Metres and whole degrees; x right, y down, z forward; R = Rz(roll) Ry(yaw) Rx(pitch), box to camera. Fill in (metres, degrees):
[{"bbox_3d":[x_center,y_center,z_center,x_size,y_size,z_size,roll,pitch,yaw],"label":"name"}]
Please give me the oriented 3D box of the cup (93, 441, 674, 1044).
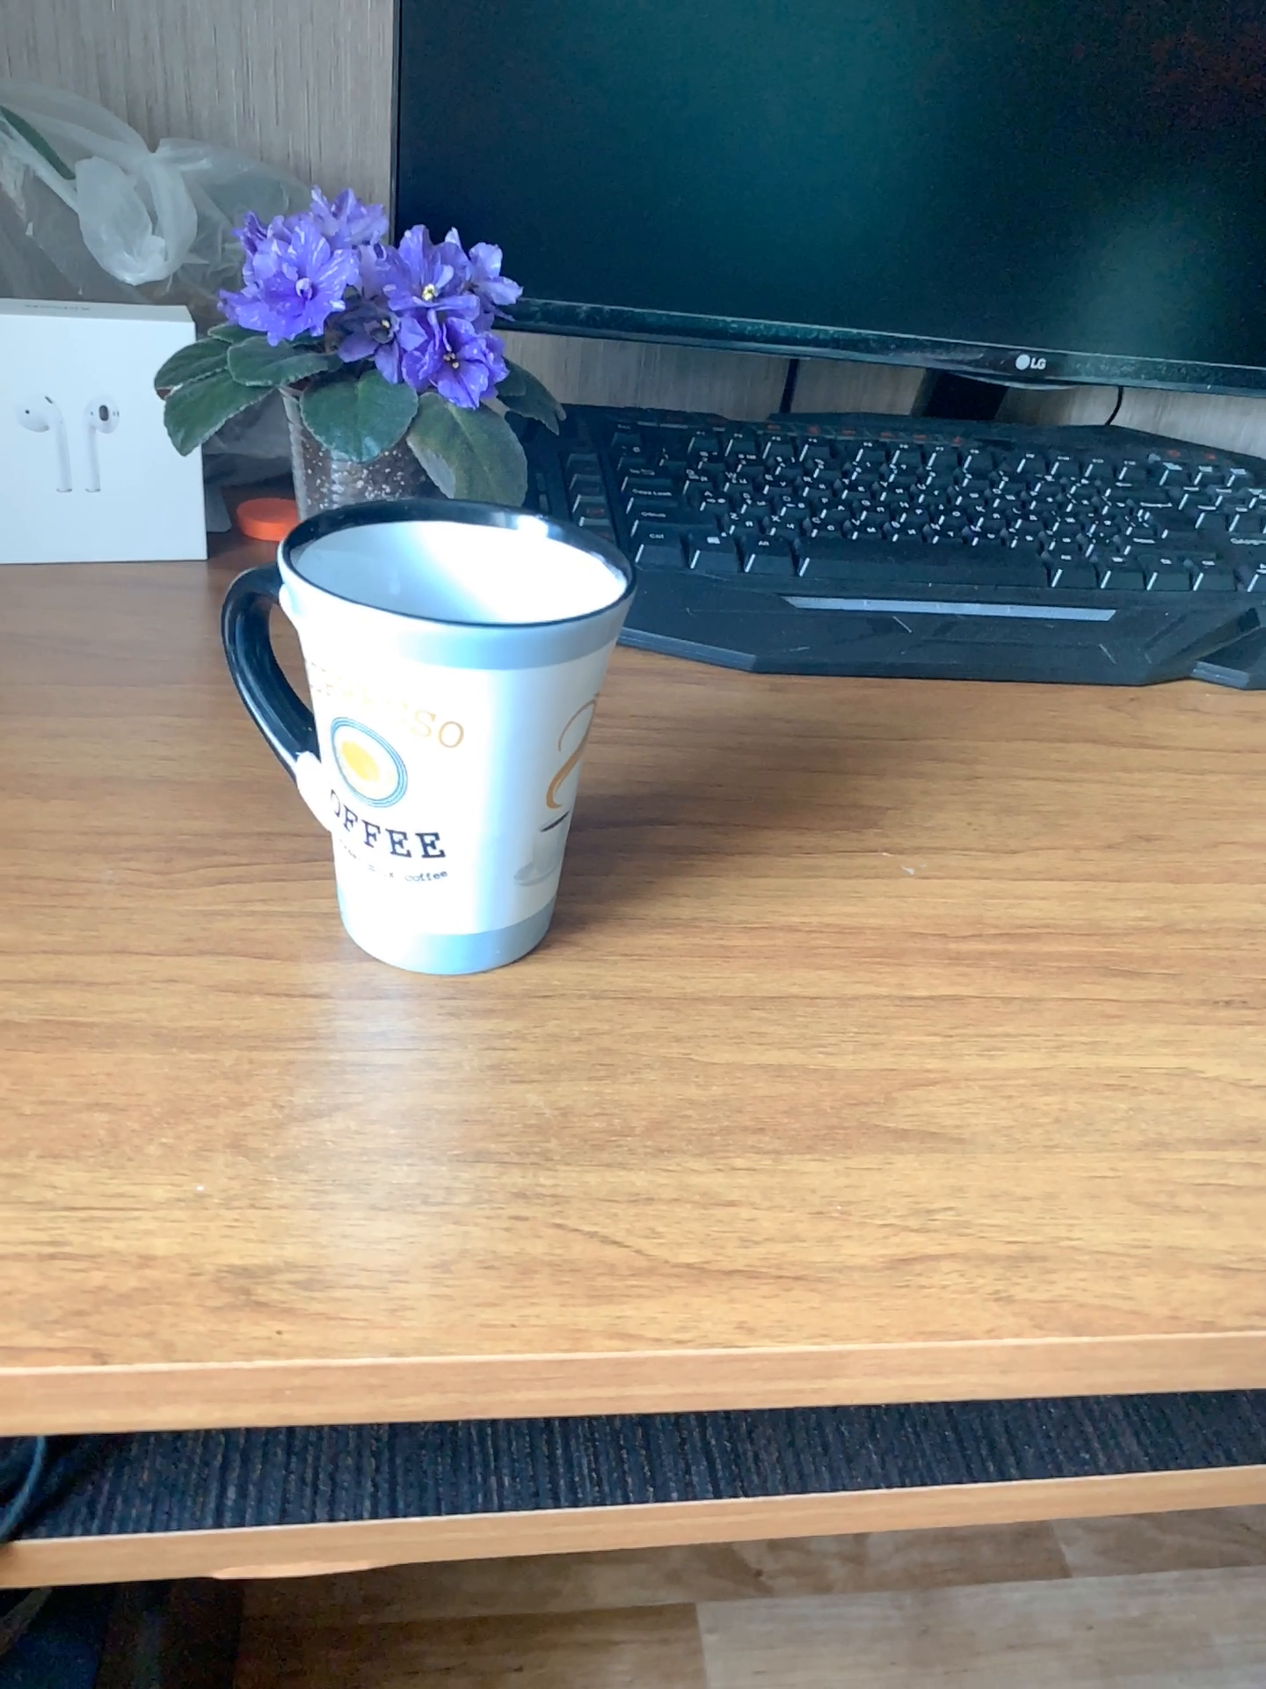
[{"bbox_3d":[-0.060,-0.031,0.316,0.110,0.100,0.070,23,34,27],"label":"cup"}]
